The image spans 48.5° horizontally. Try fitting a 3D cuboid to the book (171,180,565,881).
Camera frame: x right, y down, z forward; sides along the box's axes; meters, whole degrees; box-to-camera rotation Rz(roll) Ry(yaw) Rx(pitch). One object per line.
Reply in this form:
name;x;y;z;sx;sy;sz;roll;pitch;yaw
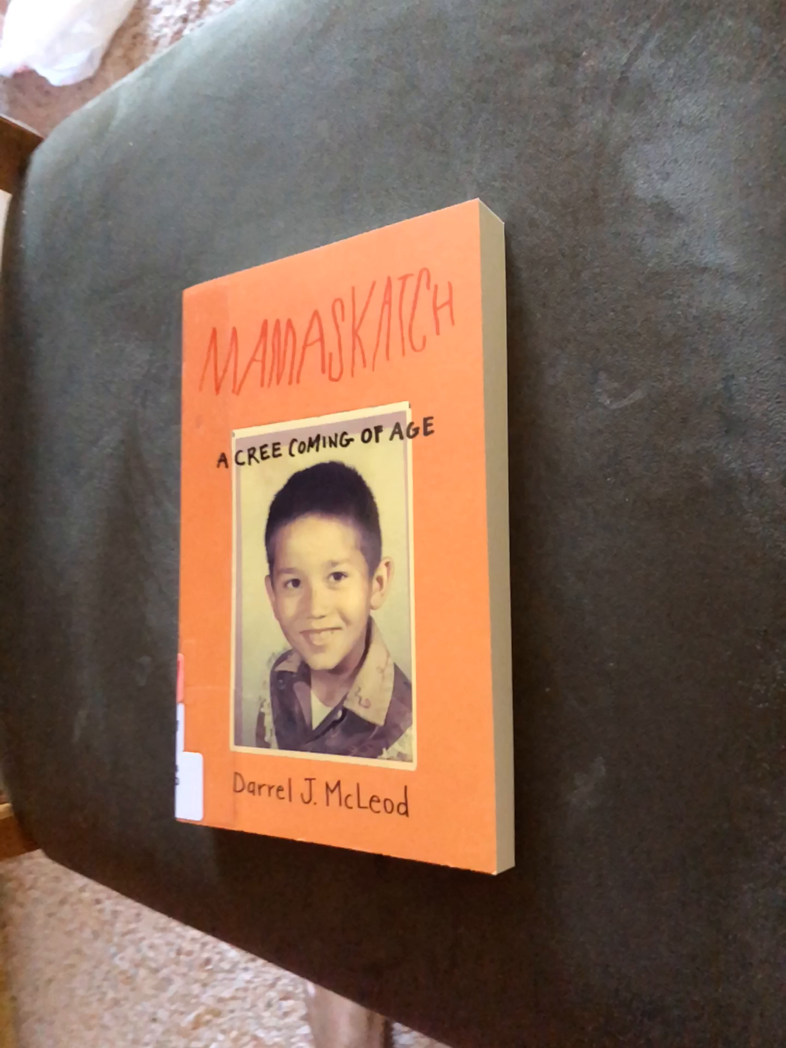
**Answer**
book;-0.017;0.004;0.329;0.151;0.040;0.218;-4;85;34
